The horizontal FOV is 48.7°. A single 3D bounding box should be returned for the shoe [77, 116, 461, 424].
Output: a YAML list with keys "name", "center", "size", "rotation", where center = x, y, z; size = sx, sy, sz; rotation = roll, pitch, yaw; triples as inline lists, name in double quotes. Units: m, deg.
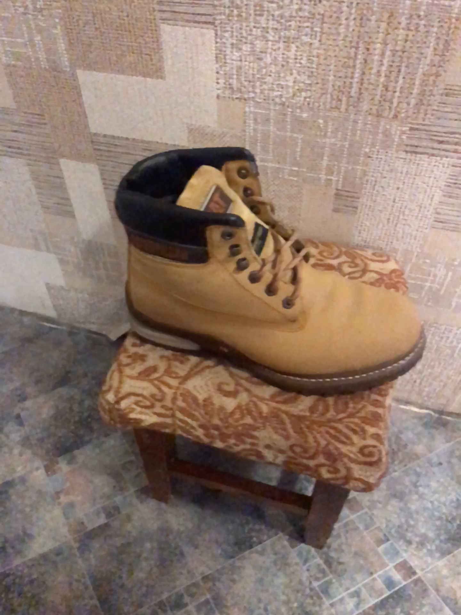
- name: "shoe"
  center: [0.043, -0.033, 0.464]
  size: [0.290, 0.189, 0.130]
  rotation: [12, 50, 10]
